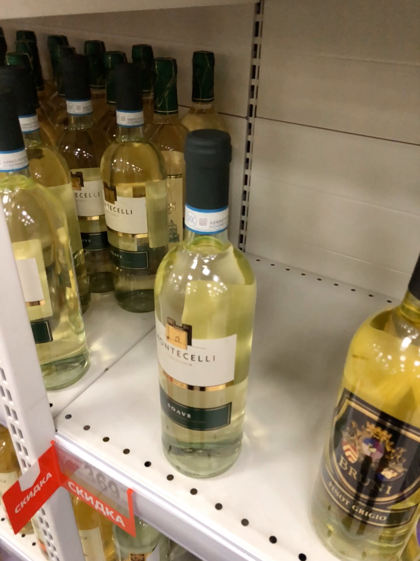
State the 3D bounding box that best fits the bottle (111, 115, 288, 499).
[{"bbox_3d":[-0.008,0.035,0.349,0.080,0.284,0.070,17,36,22],"label":"bottle"}]
